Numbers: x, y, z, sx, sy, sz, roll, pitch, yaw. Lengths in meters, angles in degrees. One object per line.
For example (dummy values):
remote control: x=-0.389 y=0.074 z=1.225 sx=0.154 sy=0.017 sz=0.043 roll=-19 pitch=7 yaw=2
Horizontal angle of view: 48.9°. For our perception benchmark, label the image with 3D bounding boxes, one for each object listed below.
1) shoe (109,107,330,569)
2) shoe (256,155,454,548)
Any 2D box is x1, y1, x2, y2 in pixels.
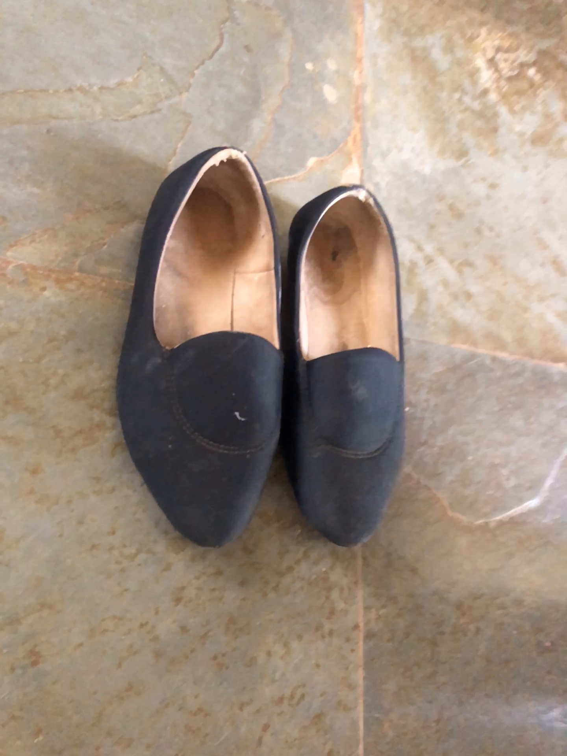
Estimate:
shoe: x=-0.049 y=-0.023 z=0.406 sx=0.110 sy=0.080 sz=0.270 roll=3 pitch=74 yaw=-25
shoe: x=0.047 y=-0.014 z=0.466 sx=0.110 sy=0.080 sz=0.271 roll=7 pitch=72 yaw=-24
